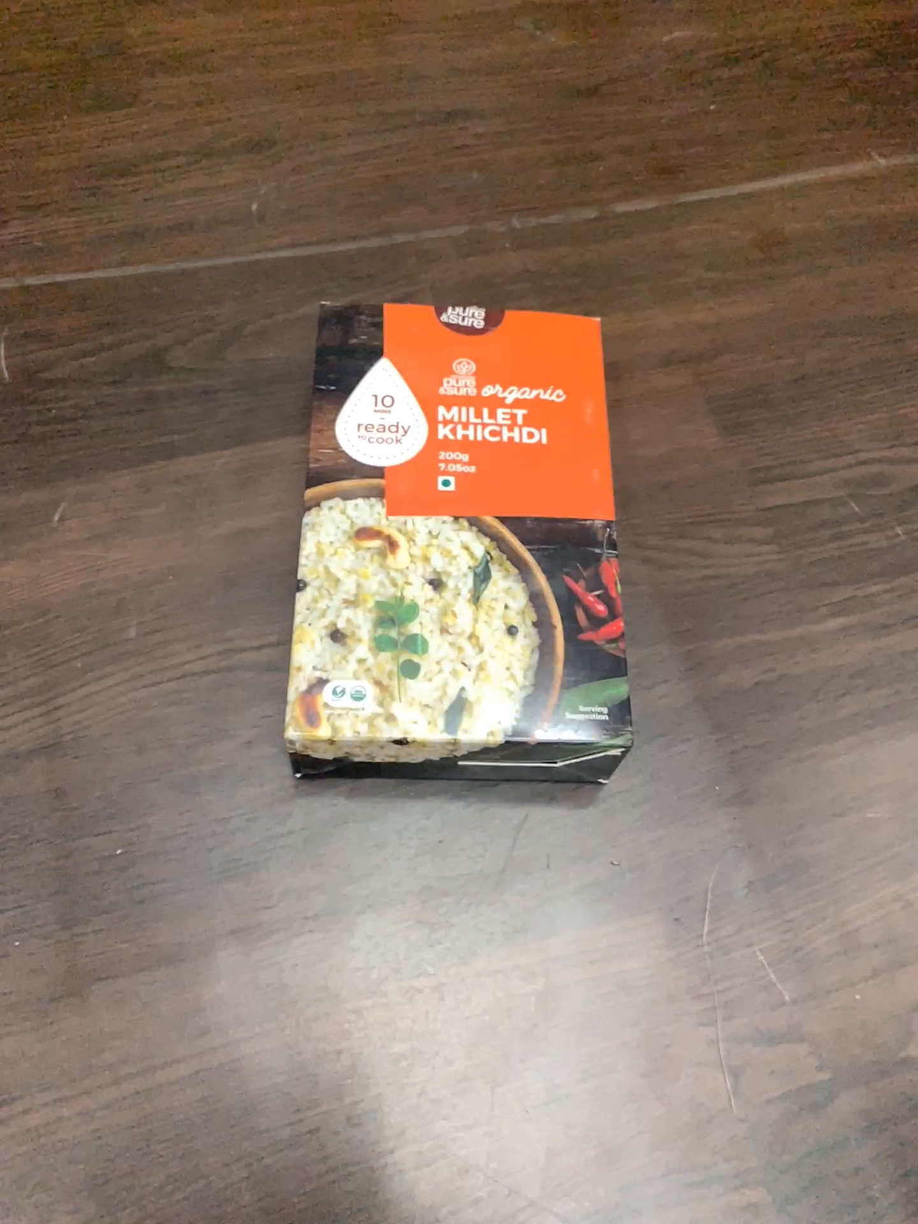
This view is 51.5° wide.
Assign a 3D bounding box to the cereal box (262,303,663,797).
[{"bbox_3d":[0.002,-0.025,0.314,0.110,0.040,0.160,2,63,-3],"label":"cereal box"}]
